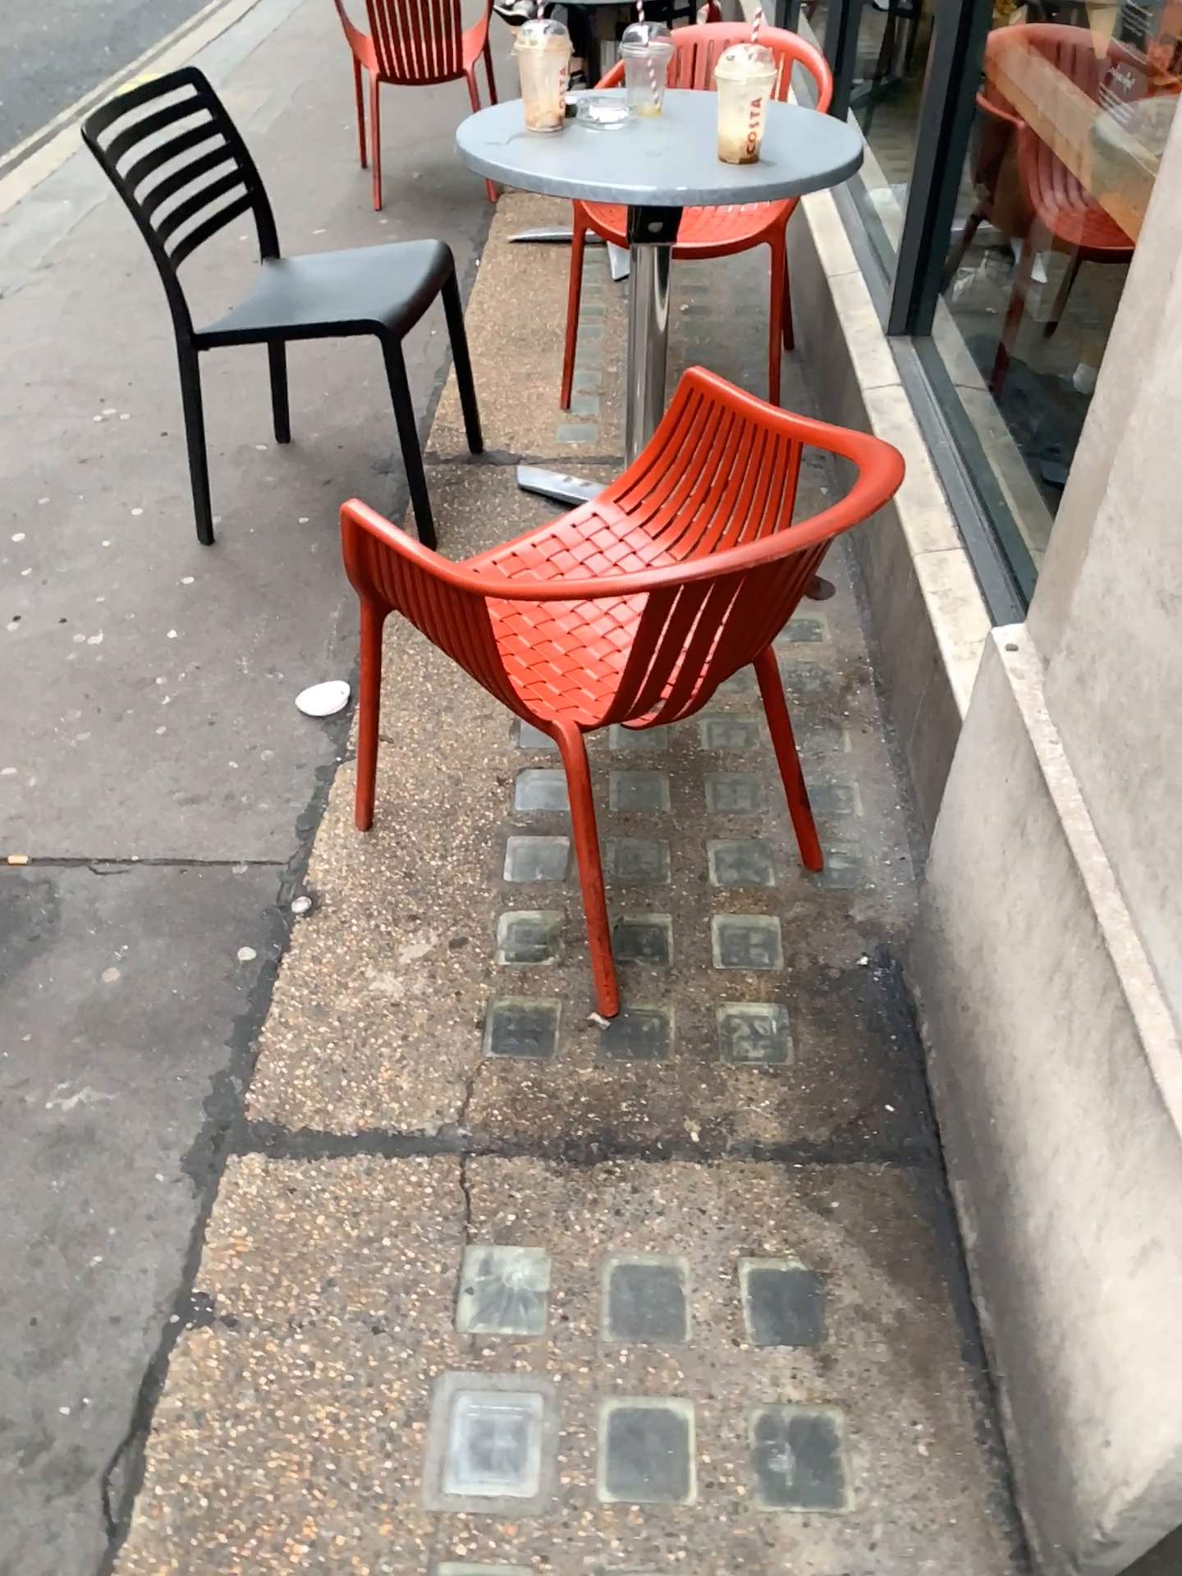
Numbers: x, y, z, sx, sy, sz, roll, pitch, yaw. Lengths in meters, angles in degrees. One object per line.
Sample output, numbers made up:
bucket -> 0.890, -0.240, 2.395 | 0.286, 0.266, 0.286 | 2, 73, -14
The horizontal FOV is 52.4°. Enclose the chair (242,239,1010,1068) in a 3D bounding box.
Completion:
chair -> 0.028, -0.202, 1.547 | 0.582, 0.693, 0.614 | -30, 50, -29
